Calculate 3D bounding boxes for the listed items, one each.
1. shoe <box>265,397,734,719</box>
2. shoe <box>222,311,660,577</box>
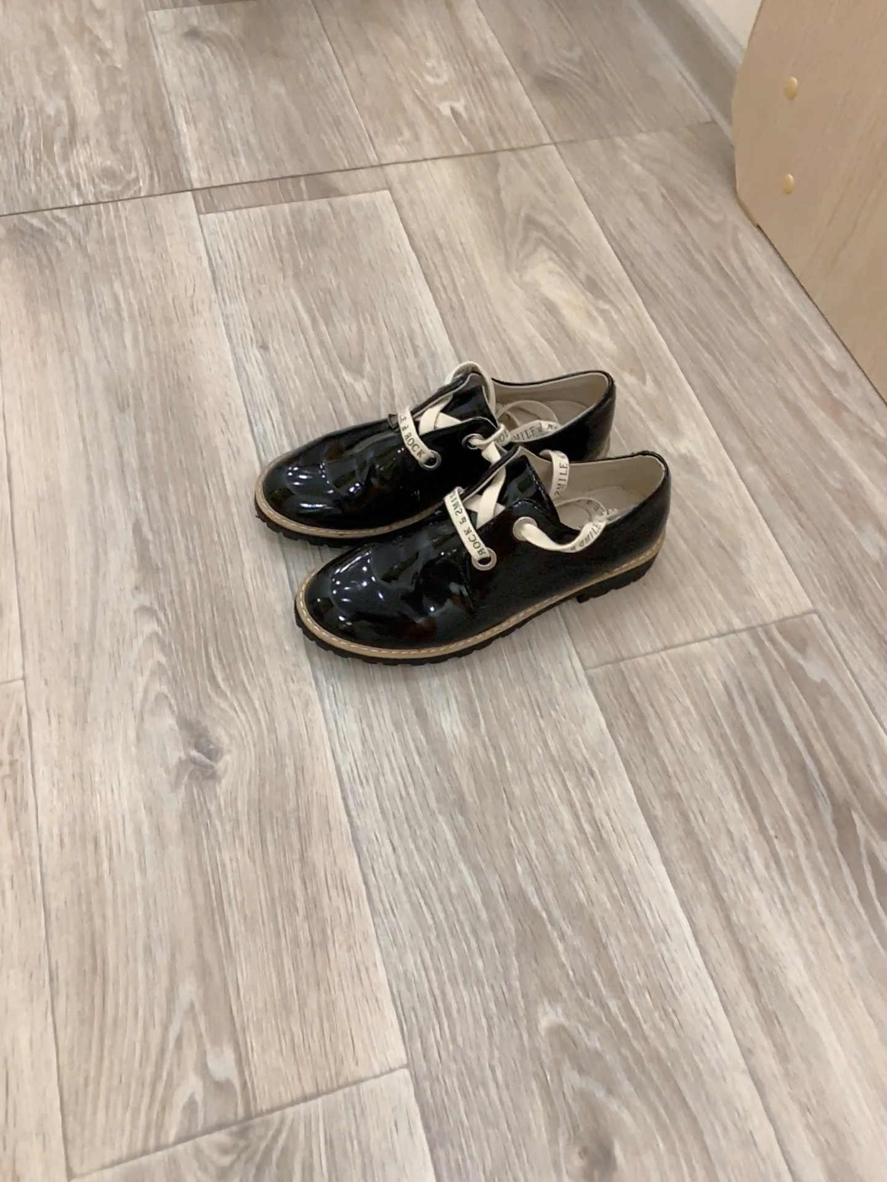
[{"bbox_3d":[0.034,-0.024,0.599,0.270,0.100,0.100,-18,62,-14],"label":"shoe"},{"bbox_3d":[-0.004,-0.104,0.640,0.270,0.100,0.100,-12,61,-11],"label":"shoe"}]
